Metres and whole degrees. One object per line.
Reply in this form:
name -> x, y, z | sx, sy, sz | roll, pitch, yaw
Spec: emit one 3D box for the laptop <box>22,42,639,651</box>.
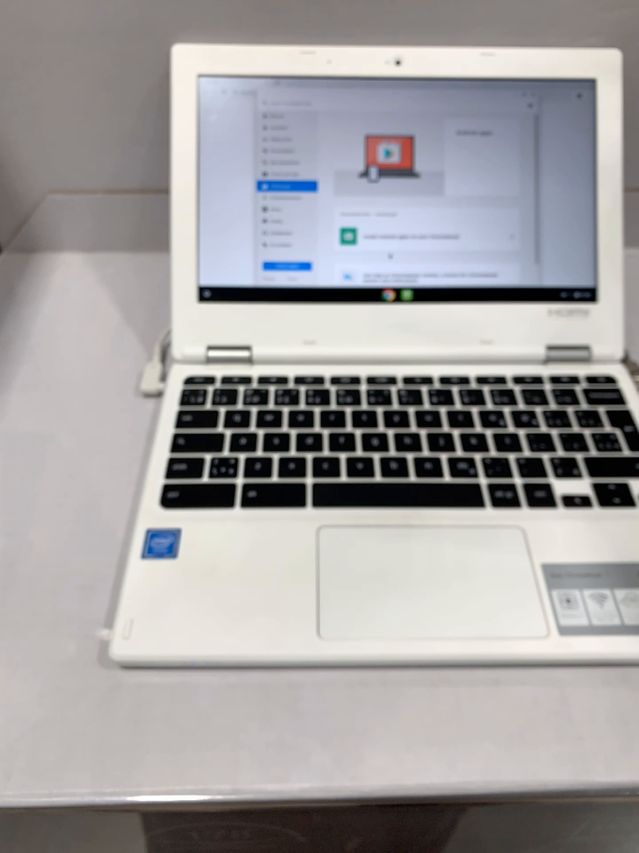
laptop -> 0.049, -0.069, 0.360 | 0.282, 0.132, 0.329 | 0, 48, -2
